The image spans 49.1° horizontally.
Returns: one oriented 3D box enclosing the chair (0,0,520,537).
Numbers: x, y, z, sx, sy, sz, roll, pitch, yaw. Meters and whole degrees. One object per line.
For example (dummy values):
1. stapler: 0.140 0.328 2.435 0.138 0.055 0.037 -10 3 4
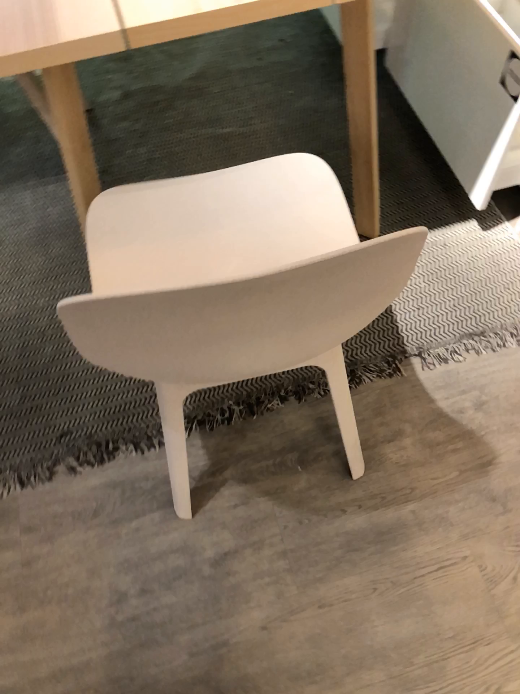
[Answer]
1. chair: -0.054 -0.092 0.906 0.460 0.767 0.512 -14 61 -5
